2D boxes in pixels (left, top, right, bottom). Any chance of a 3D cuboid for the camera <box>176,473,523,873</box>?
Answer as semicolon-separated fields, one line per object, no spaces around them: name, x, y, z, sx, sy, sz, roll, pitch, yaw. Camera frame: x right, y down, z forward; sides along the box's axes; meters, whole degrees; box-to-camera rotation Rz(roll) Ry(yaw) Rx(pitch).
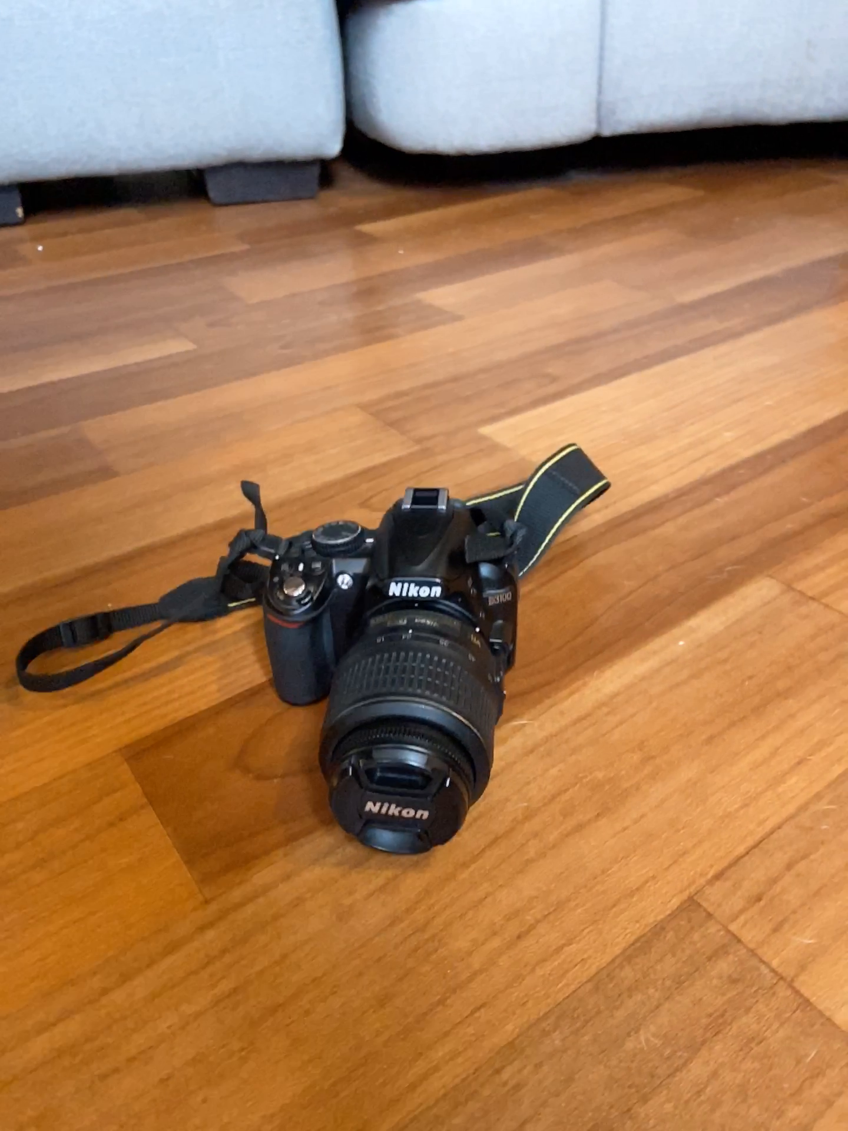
camera;-0.019;0.037;0.391;0.120;0.090;0.163;1;34;5
